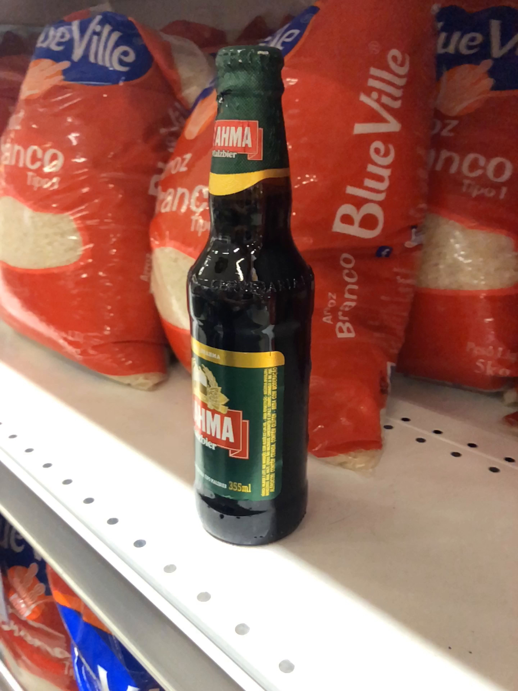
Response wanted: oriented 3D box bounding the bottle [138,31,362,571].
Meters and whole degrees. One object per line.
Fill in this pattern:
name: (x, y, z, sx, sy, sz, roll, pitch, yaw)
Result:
bottle: (-0.002, -0.016, 0.277, 0.060, 0.228, 0.070, -19, 28, -38)
